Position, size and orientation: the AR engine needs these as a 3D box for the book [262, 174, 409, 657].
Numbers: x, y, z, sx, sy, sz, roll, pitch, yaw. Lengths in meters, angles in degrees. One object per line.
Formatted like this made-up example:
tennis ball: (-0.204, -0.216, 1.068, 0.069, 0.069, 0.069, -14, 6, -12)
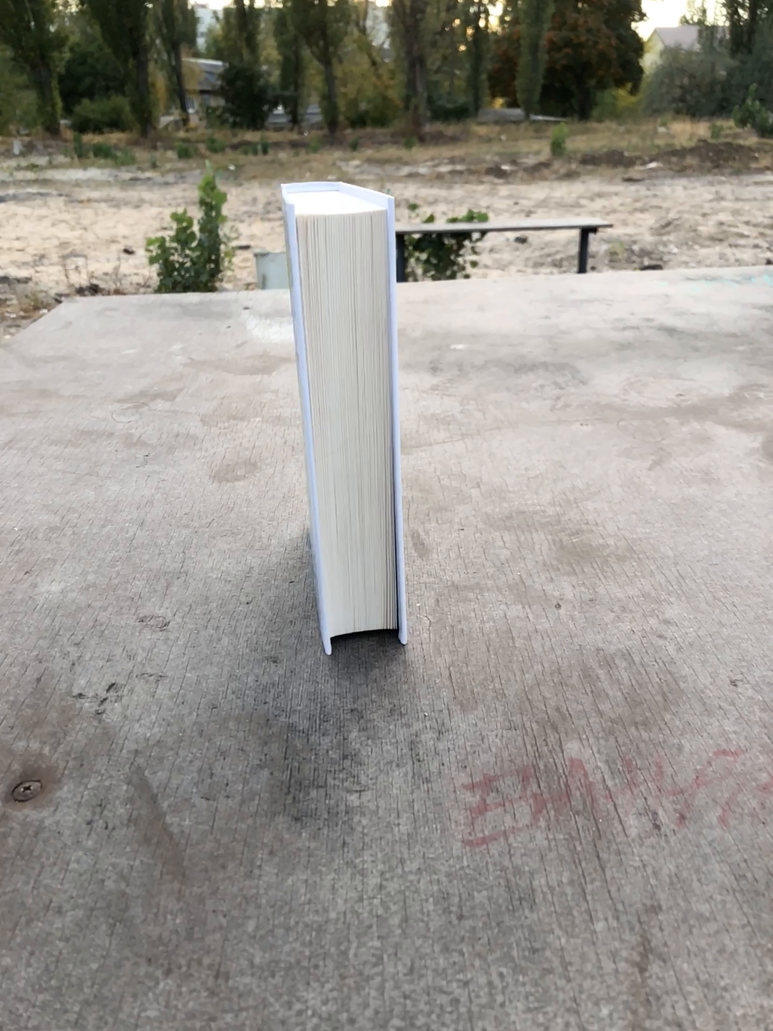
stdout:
book: (-0.029, -0.062, 0.445, 0.050, 0.209, 0.161, -5, 24, -7)
